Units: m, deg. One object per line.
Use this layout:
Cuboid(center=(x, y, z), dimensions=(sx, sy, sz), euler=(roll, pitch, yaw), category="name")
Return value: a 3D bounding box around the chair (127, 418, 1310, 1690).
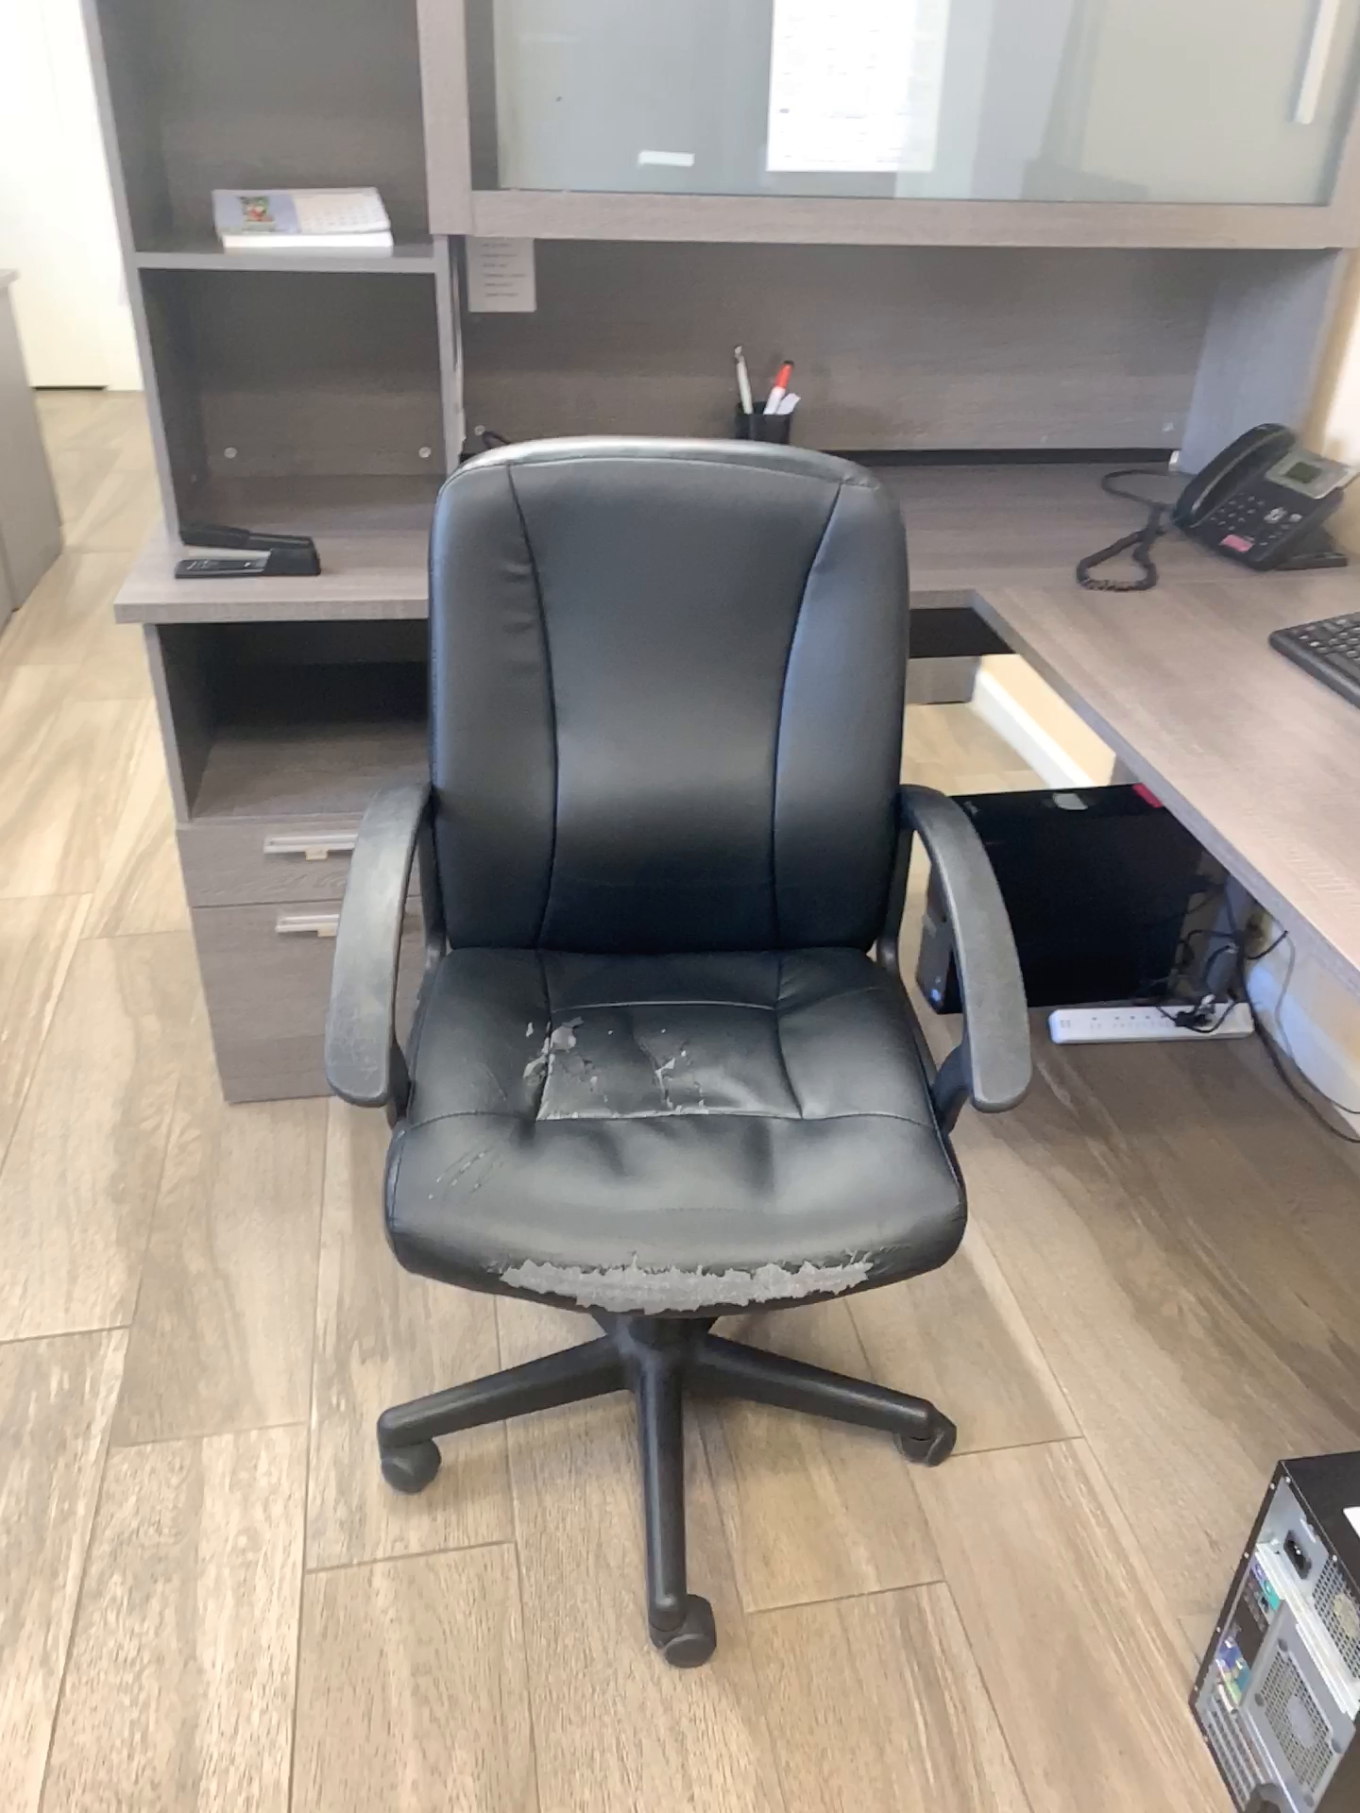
Cuboid(center=(-0.006, 0.116, 1.271), dimensions=(0.650, 0.945, 0.644), euler=(-1, 32, -5), category="chair")
